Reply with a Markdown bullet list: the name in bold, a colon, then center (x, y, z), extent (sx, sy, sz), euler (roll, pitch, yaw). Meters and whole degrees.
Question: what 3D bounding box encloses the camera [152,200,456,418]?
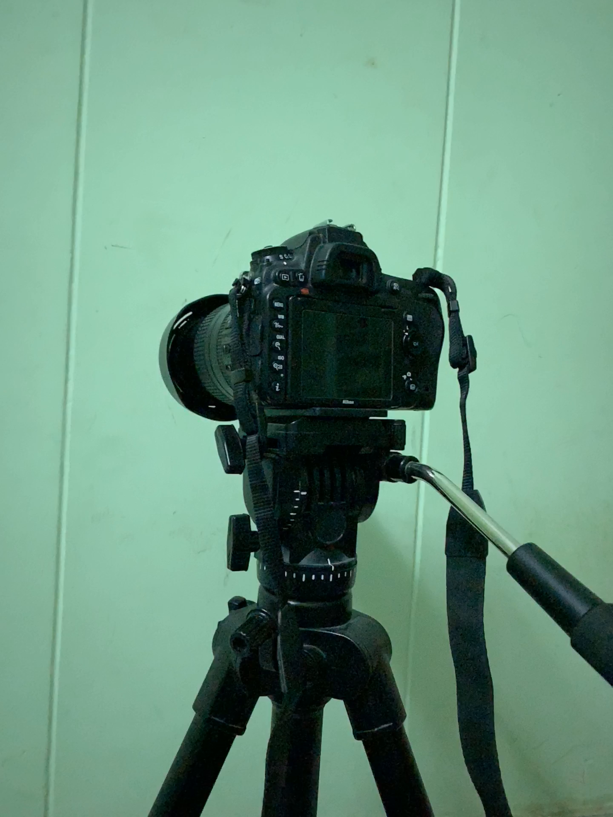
- **camera**: center (-0.012, -0.060, 0.460), extent (0.140, 0.117, 0.182), euler (2, 3, -32)
